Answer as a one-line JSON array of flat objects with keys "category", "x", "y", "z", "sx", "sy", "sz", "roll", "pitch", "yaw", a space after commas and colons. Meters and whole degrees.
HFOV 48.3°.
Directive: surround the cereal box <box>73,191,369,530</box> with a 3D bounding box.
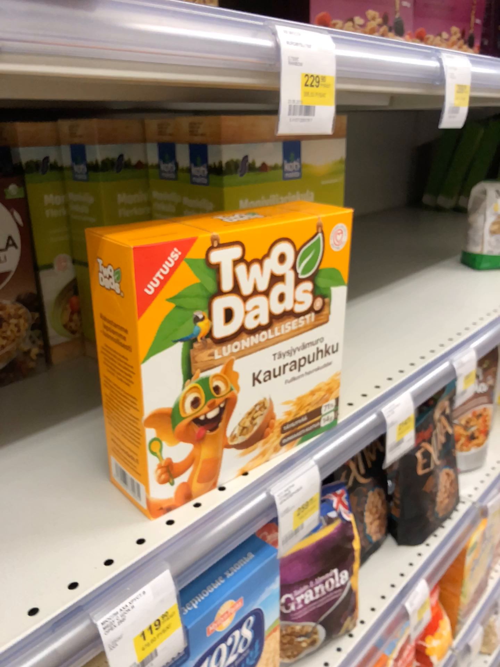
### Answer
[{"category": "cereal box", "x": -0.009, "y": 0.004, "z": 0.412, "sx": 0.200, "sy": 0.189, "sz": 0.070, "roll": -18, "pitch": 26, "yaw": -37}]
